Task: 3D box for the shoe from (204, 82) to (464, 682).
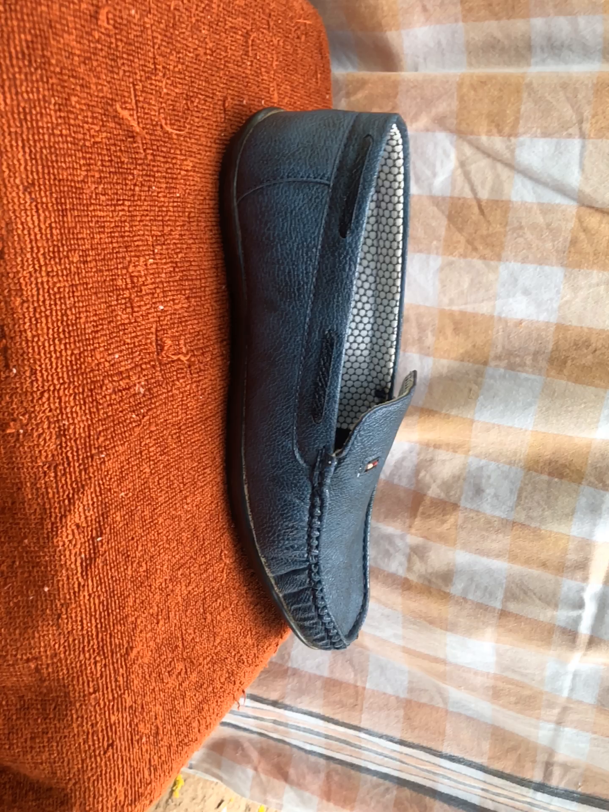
[{"bbox_3d":[0.017,-0.012,0.348,0.101,0.089,0.260,-30,124,-62],"label":"shoe"}]
